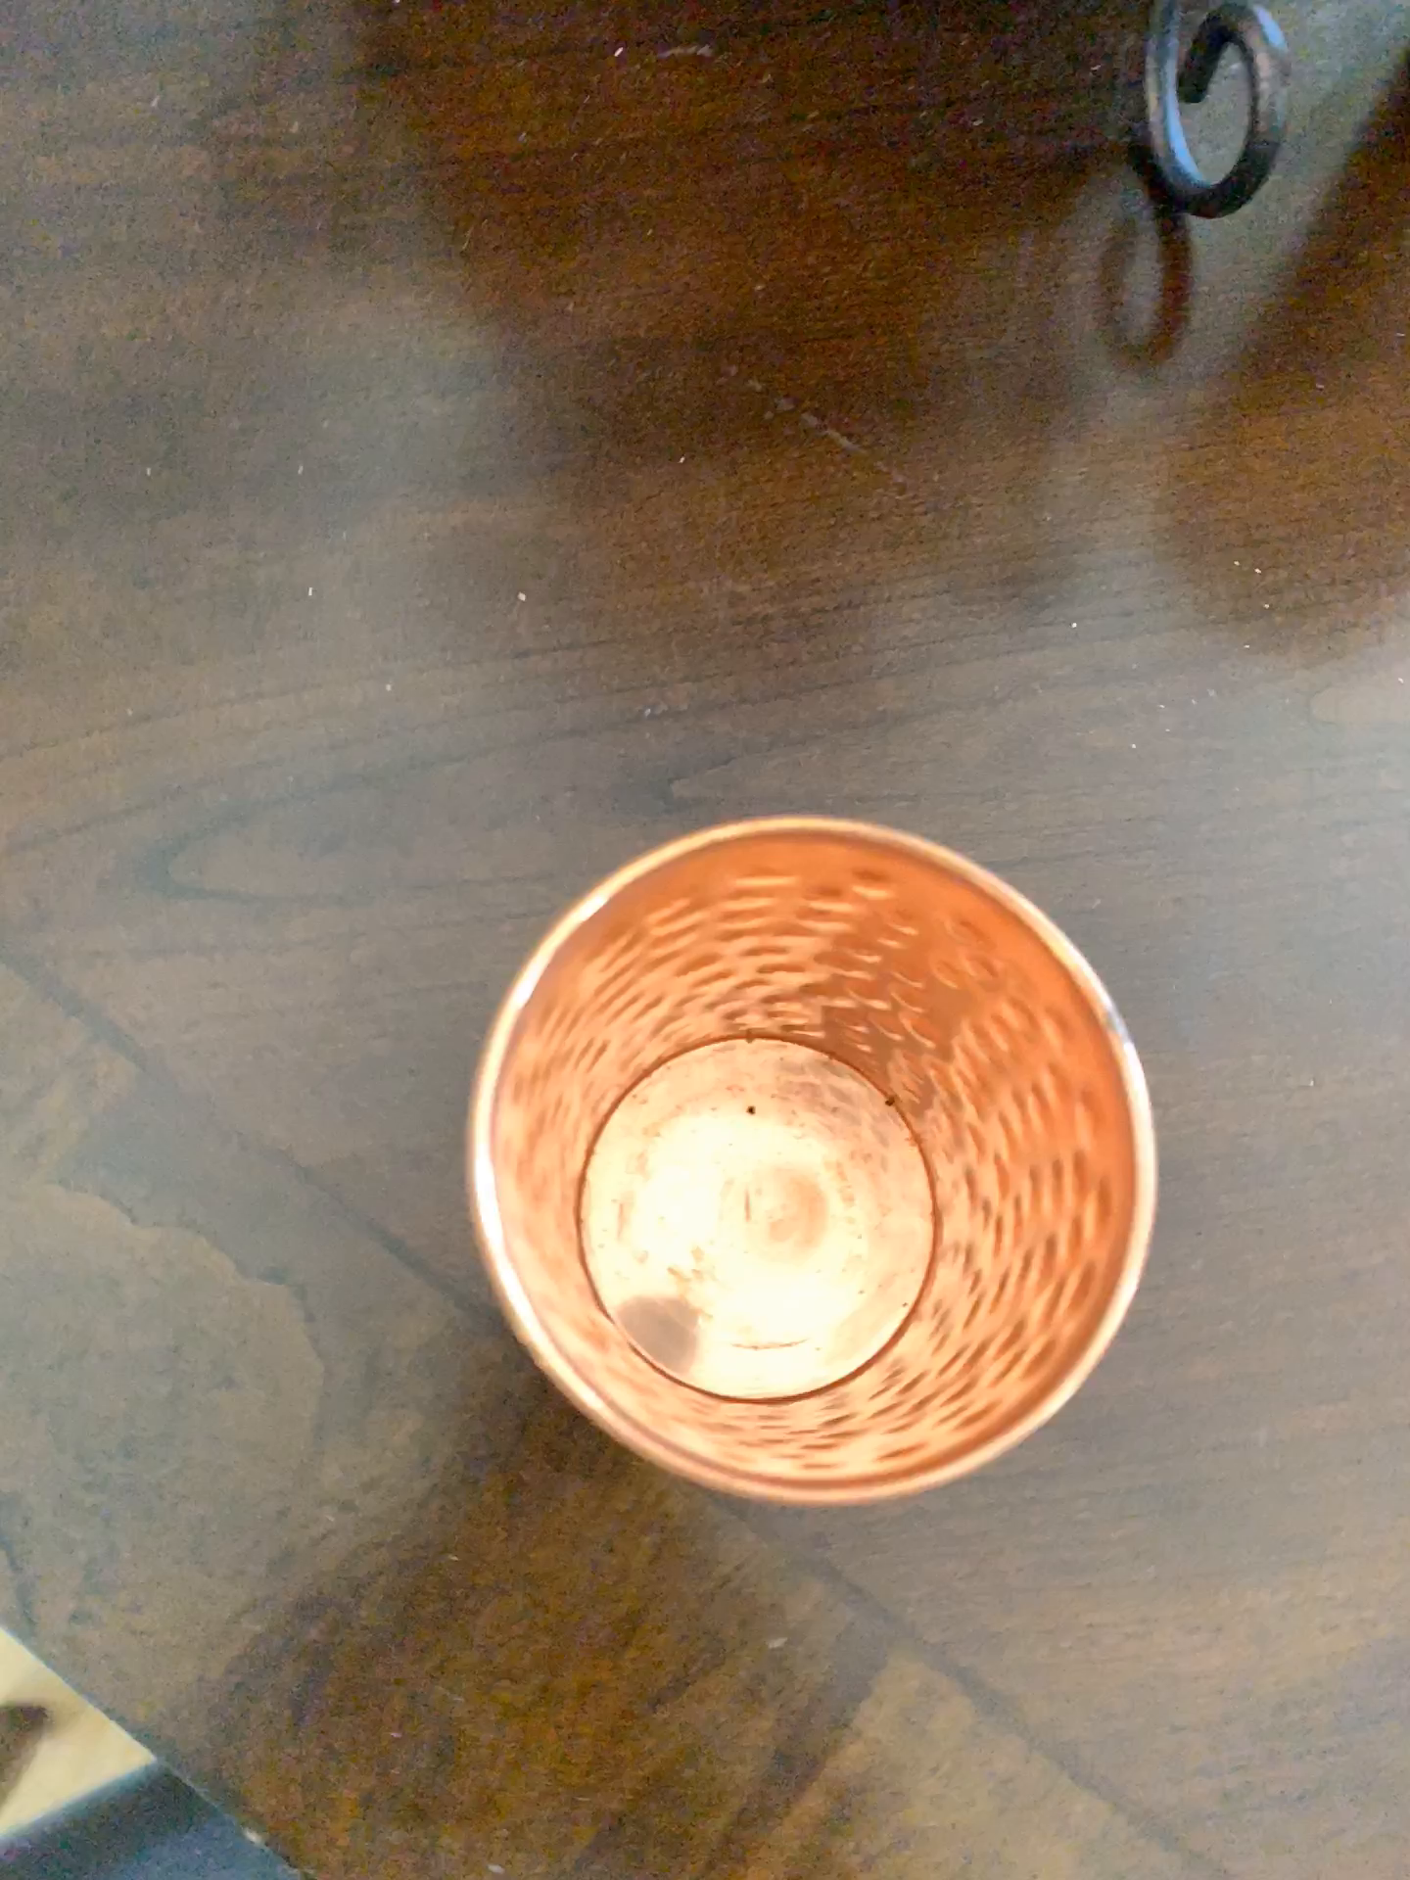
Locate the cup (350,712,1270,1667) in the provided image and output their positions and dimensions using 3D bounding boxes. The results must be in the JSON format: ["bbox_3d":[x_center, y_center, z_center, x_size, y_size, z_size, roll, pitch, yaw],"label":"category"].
[{"bbox_3d":[0.010,0.032,0.183,0.066,0.083,0.070,1,74,-2],"label":"cup"}]
